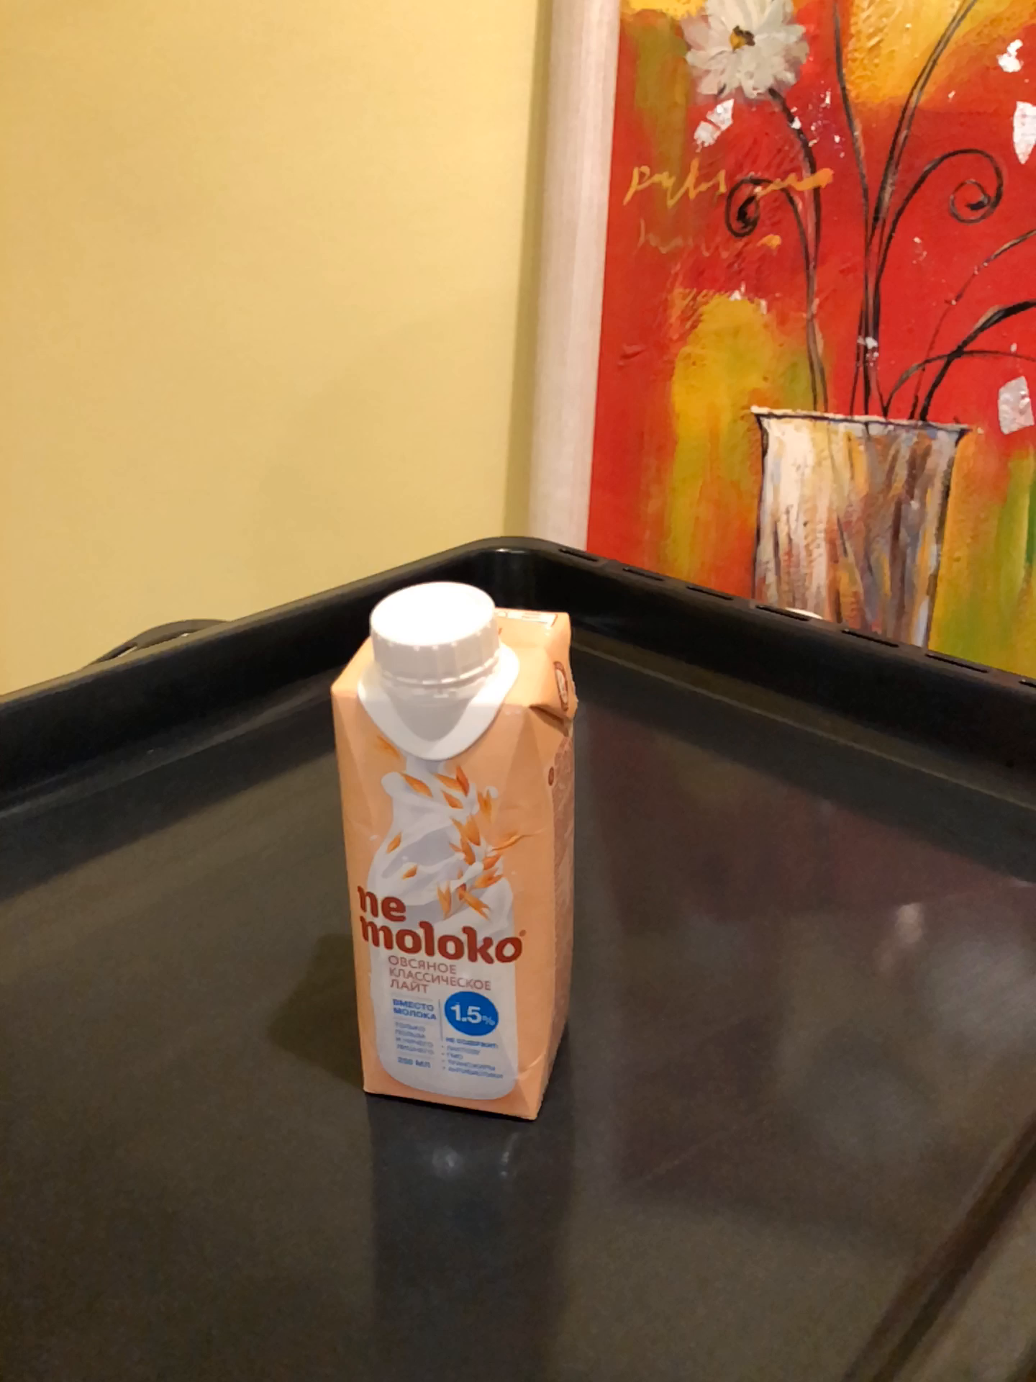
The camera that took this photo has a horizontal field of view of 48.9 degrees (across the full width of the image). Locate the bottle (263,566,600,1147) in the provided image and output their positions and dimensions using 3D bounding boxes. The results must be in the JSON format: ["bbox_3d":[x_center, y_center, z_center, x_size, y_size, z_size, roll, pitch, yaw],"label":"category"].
[{"bbox_3d":[-0.017,0.038,0.279,0.060,0.119,0.060,0,24,0],"label":"bottle"}]
